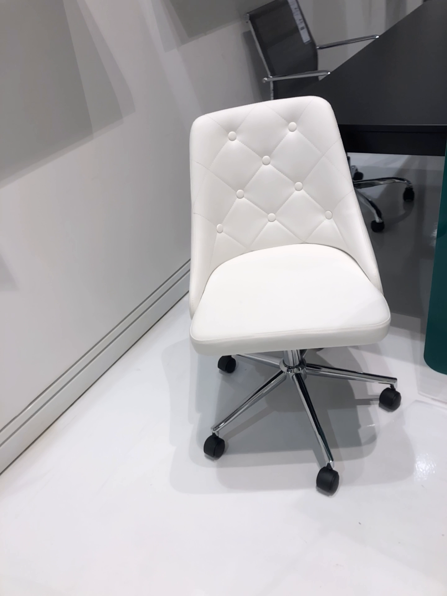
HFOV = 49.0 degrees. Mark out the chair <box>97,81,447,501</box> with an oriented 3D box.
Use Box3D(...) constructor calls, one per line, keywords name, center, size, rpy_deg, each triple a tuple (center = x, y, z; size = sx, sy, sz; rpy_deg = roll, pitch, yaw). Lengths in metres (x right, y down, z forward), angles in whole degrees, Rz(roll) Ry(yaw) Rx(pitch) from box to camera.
Box3D(name="chair", center=(0.173, -0.004, 1.313), size=(0.600, 0.854, 0.645), rpy_deg=(-5, 35, 10))
